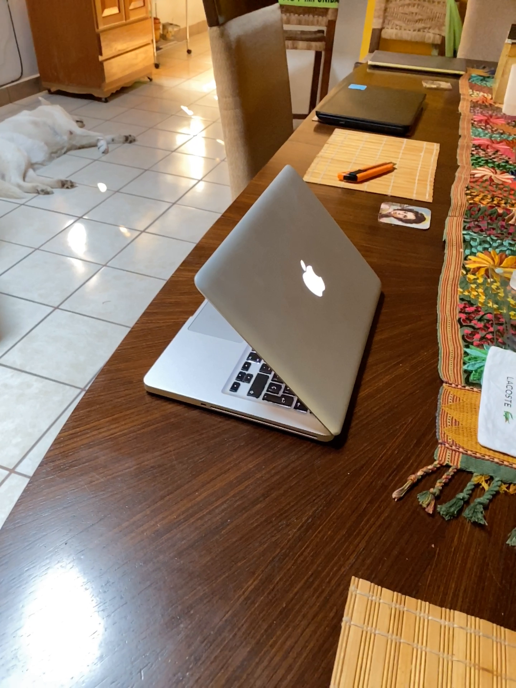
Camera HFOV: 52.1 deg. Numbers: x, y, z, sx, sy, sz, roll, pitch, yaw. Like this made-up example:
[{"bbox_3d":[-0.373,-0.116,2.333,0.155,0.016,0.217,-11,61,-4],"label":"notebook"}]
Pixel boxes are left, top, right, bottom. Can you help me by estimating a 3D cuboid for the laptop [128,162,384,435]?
[{"bbox_3d":[0.017,-0.082,0.662,0.212,0.152,0.323,13,40,12],"label":"laptop"}]
